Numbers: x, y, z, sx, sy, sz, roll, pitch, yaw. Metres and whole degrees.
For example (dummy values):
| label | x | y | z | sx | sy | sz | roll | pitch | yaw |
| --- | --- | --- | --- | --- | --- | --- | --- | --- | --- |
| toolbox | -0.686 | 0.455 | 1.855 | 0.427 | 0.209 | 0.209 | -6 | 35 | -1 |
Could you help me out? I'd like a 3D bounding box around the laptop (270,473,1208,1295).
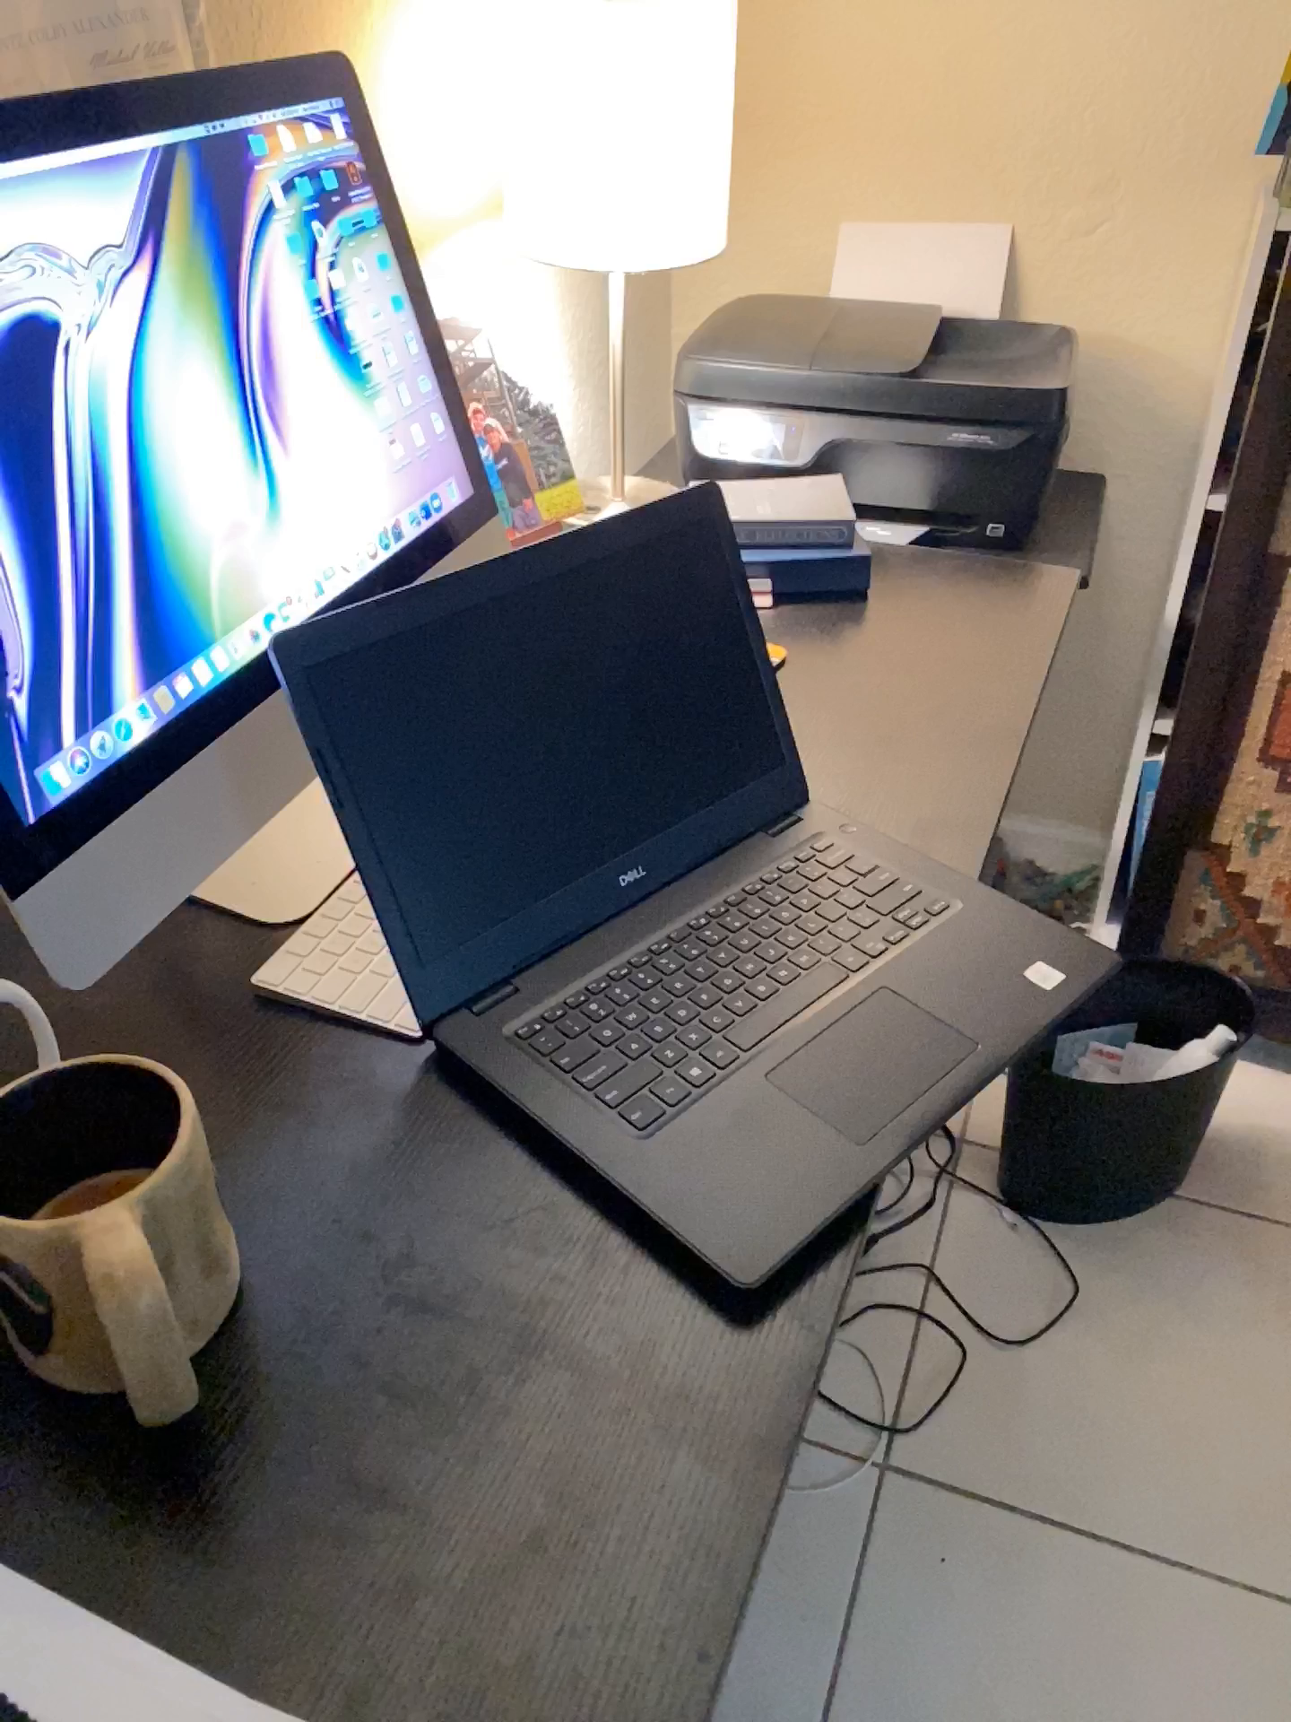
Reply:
| label | x | y | z | sx | sy | sz | roll | pitch | yaw |
| --- | --- | --- | --- | --- | --- | --- | --- | --- | --- |
| laptop | 0.047 | -0.029 | 0.737 | 0.337 | 0.206 | 0.343 | -30 | 45 | -34 |
